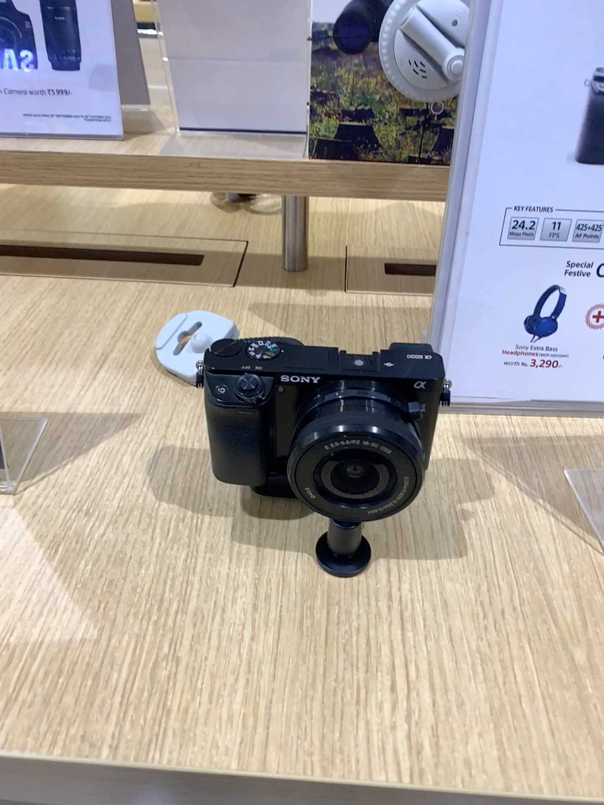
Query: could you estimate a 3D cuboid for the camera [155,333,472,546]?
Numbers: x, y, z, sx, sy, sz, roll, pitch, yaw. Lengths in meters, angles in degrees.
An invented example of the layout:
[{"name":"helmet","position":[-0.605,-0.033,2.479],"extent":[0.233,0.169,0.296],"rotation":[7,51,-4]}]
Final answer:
[{"name":"camera","position":[0.006,0.017,0.303],"extent":[0.130,0.070,0.070],"rotation":[2,38,2]}]
